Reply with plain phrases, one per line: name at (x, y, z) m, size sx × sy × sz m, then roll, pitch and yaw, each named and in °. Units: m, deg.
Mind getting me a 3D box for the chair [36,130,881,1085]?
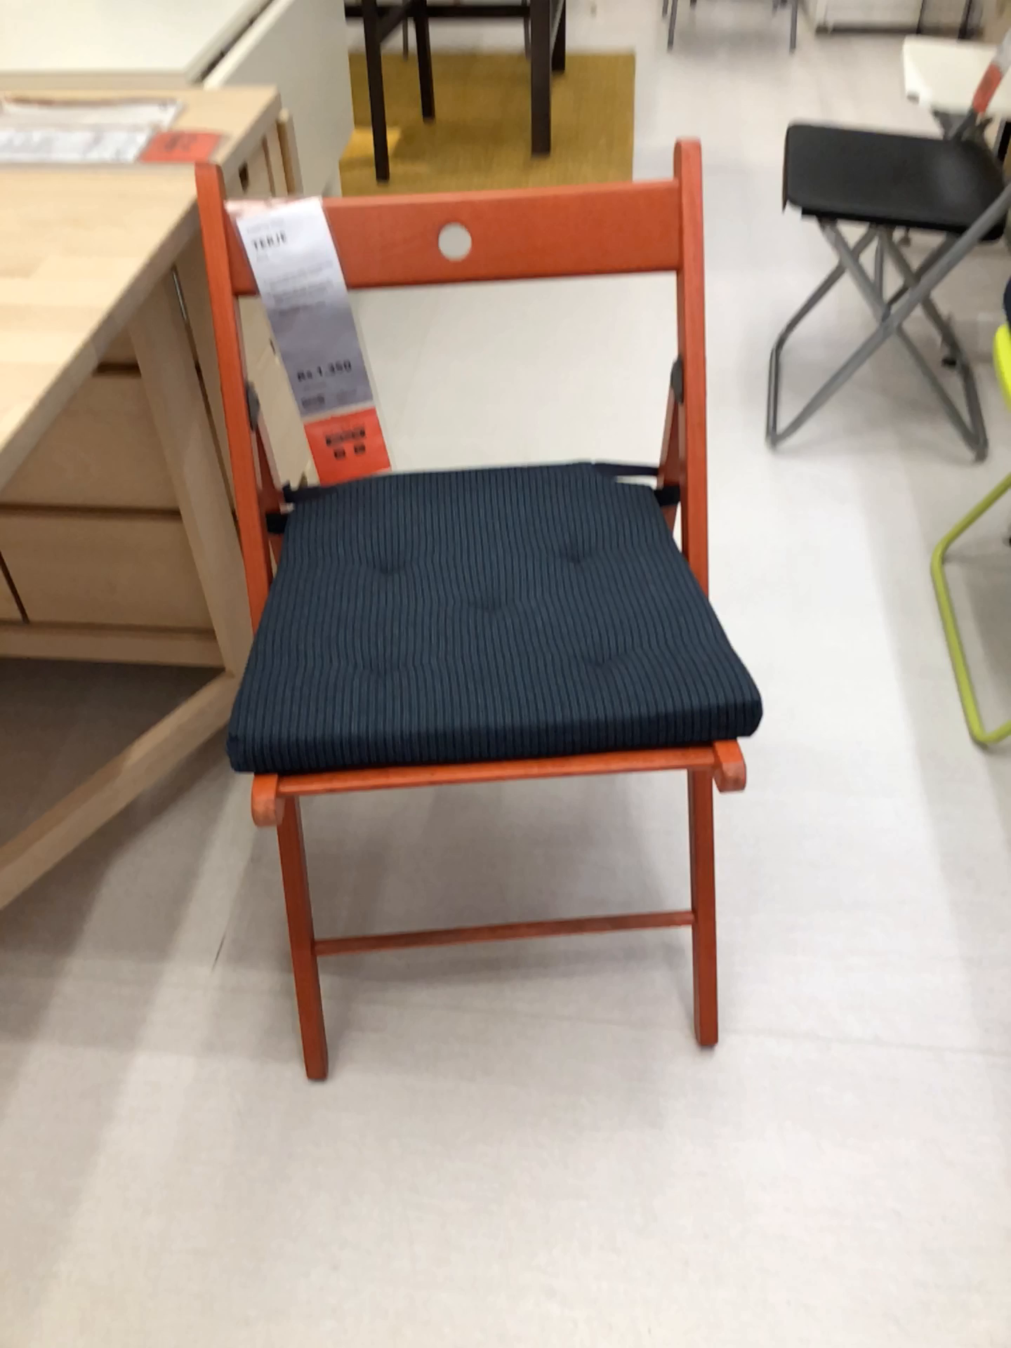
chair at (-0.029, -0.037, 1.045) m, size 0.470 × 0.715 × 0.504 m, roll -3°, pitch 44°, yaw -1°
